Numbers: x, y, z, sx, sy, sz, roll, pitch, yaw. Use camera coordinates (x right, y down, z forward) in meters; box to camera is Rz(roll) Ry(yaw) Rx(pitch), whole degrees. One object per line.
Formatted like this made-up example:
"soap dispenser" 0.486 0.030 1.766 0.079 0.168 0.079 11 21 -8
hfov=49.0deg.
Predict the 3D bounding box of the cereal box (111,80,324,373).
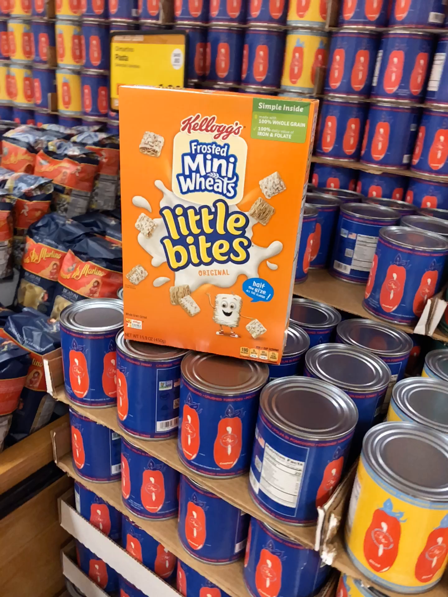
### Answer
"cereal box" -0.015 -0.074 0.540 0.200 0.288 0.060 9 24 9
